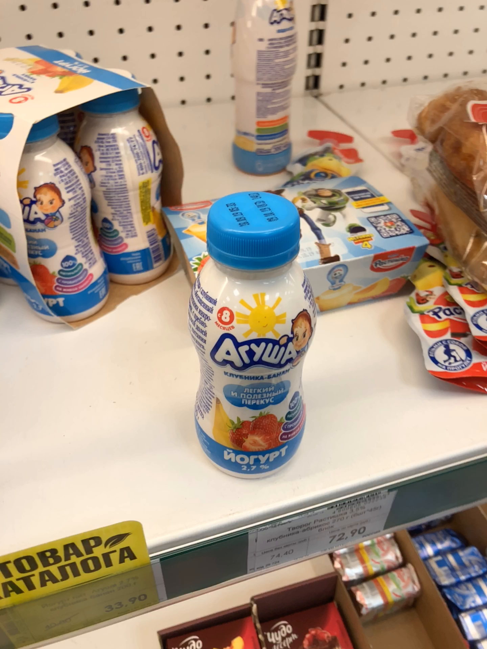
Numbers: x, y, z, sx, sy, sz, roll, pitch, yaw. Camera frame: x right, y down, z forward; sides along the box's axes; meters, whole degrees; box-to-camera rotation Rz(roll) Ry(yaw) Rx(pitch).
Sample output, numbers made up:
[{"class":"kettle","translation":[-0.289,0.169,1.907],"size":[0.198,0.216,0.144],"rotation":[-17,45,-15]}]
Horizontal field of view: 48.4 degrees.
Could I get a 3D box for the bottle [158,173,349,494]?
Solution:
[{"class":"bottle","translation":[0.000,0.009,0.240],"size":[0.060,0.129,0.060],"rotation":[0,41,0]}]
